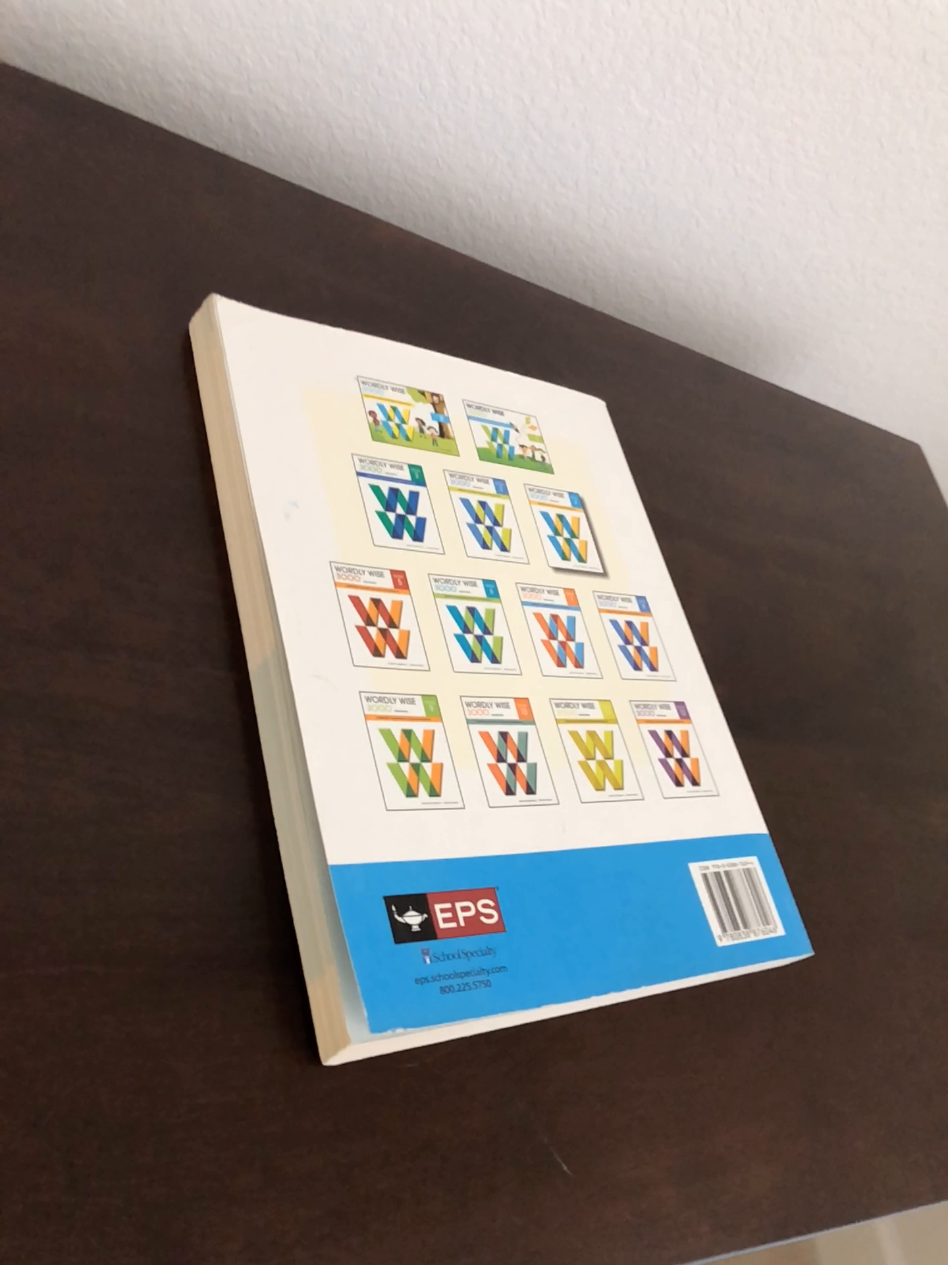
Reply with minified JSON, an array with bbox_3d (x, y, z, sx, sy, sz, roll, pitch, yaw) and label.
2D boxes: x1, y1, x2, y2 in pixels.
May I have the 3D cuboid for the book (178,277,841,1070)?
[{"bbox_3d":[0.013,0.003,0.407,0.221,0.031,0.271,5,60,-36],"label":"book"}]
